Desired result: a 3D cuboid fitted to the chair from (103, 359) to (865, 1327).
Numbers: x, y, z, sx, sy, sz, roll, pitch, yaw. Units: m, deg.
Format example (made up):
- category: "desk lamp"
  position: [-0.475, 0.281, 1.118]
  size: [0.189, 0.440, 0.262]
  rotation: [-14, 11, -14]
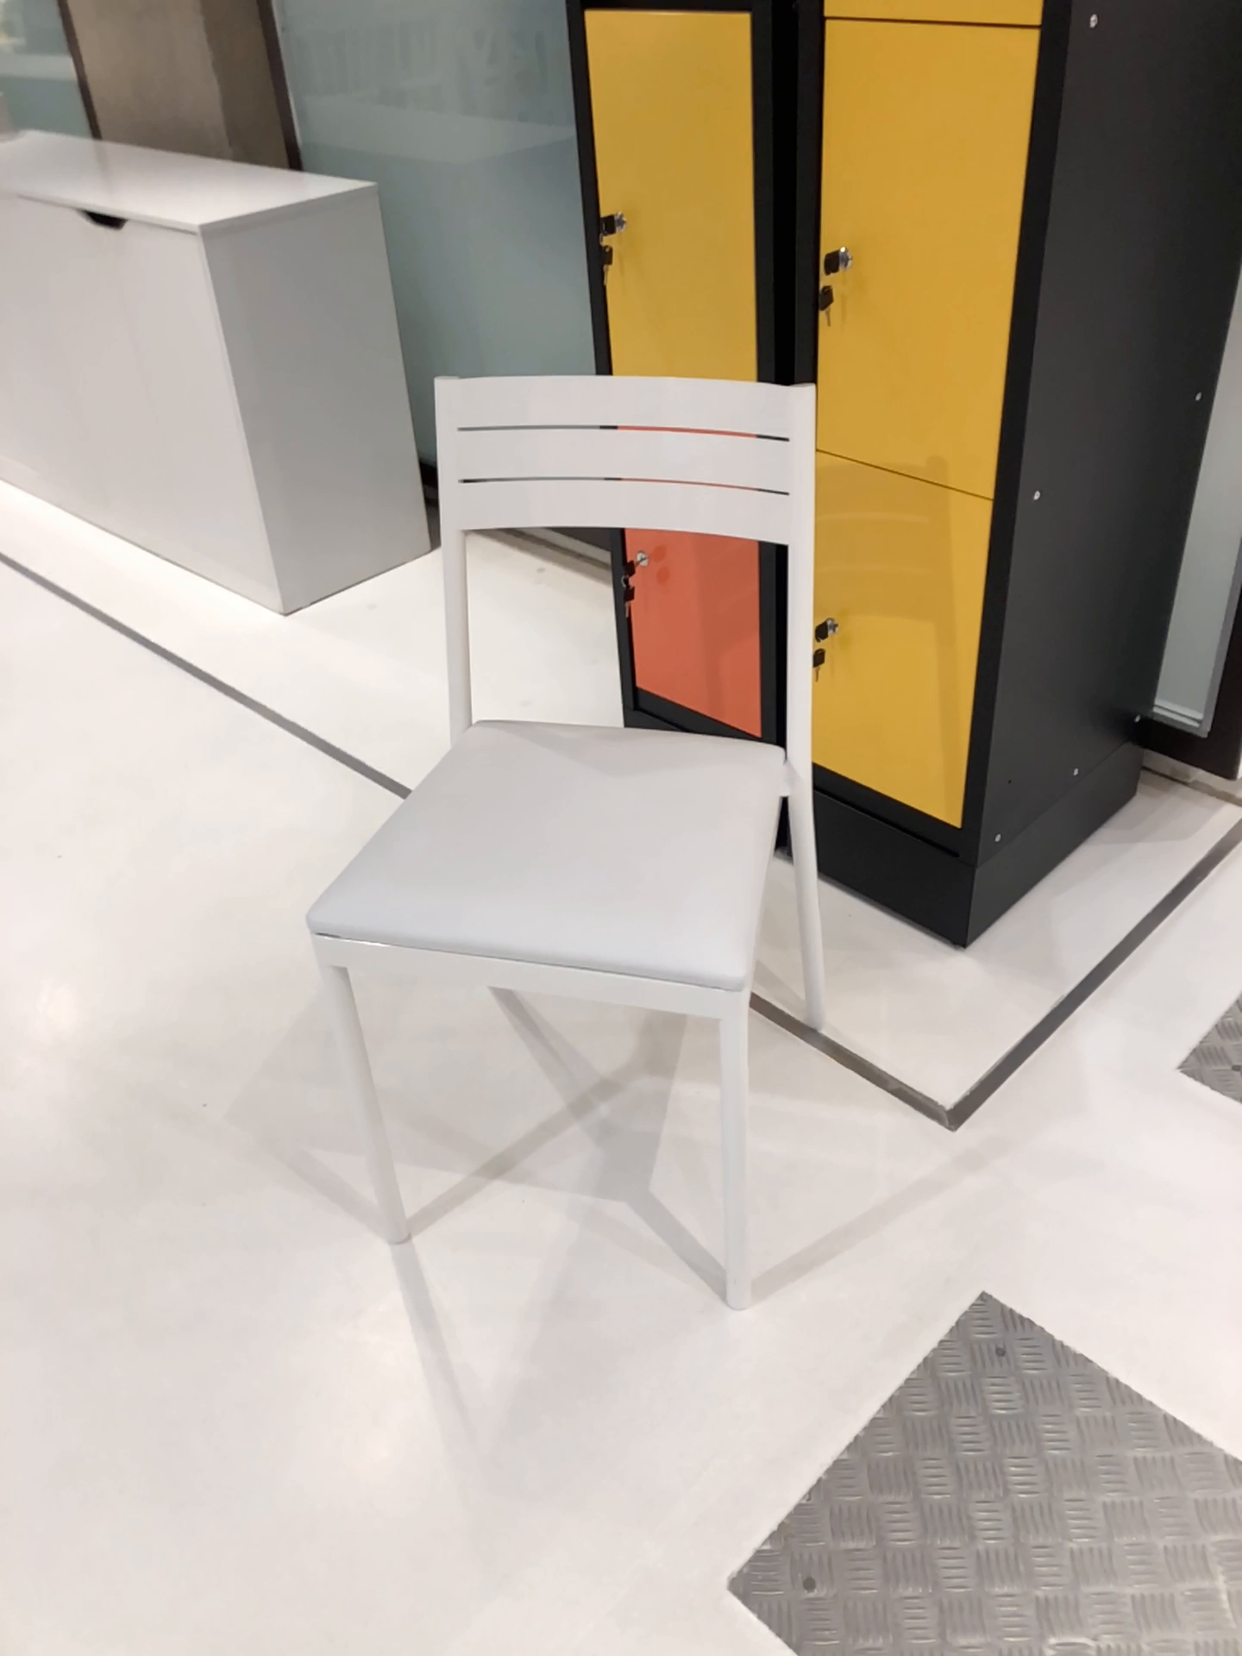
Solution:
- category: "chair"
  position: [-0.048, -0.005, 1.344]
  size: [0.480, 0.735, 0.534]
  rotation: [6, 37, 15]
